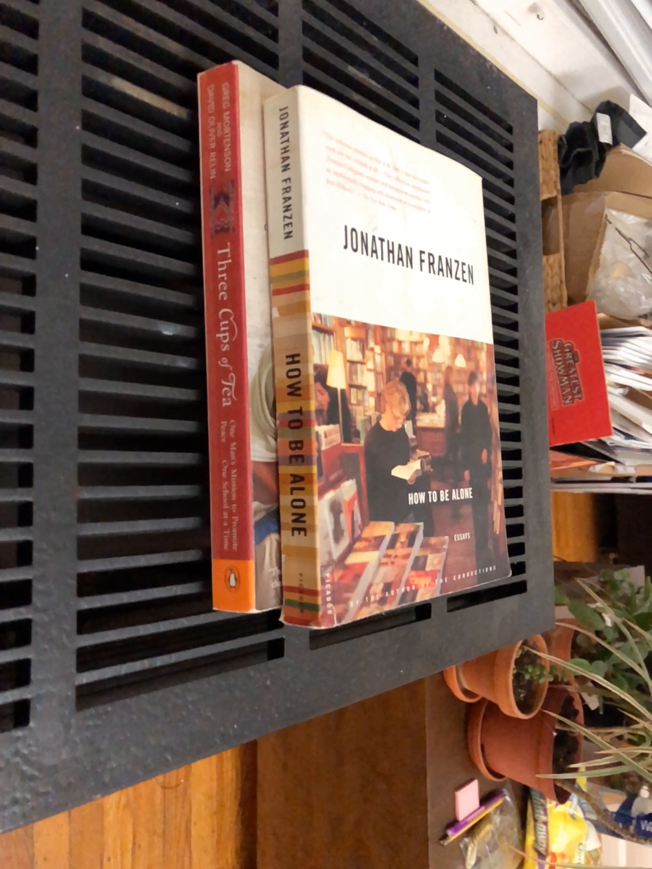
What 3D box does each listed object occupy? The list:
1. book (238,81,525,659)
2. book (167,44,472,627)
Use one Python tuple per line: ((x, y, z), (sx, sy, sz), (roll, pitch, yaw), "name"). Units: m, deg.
((0.034, -0.025, 0.326), (0.151, 0.030, 0.210), (-2, 87, -48), "book")
((0.006, -0.037, 0.323), (0.151, 0.030, 0.210), (-2, 87, -48), "book")
